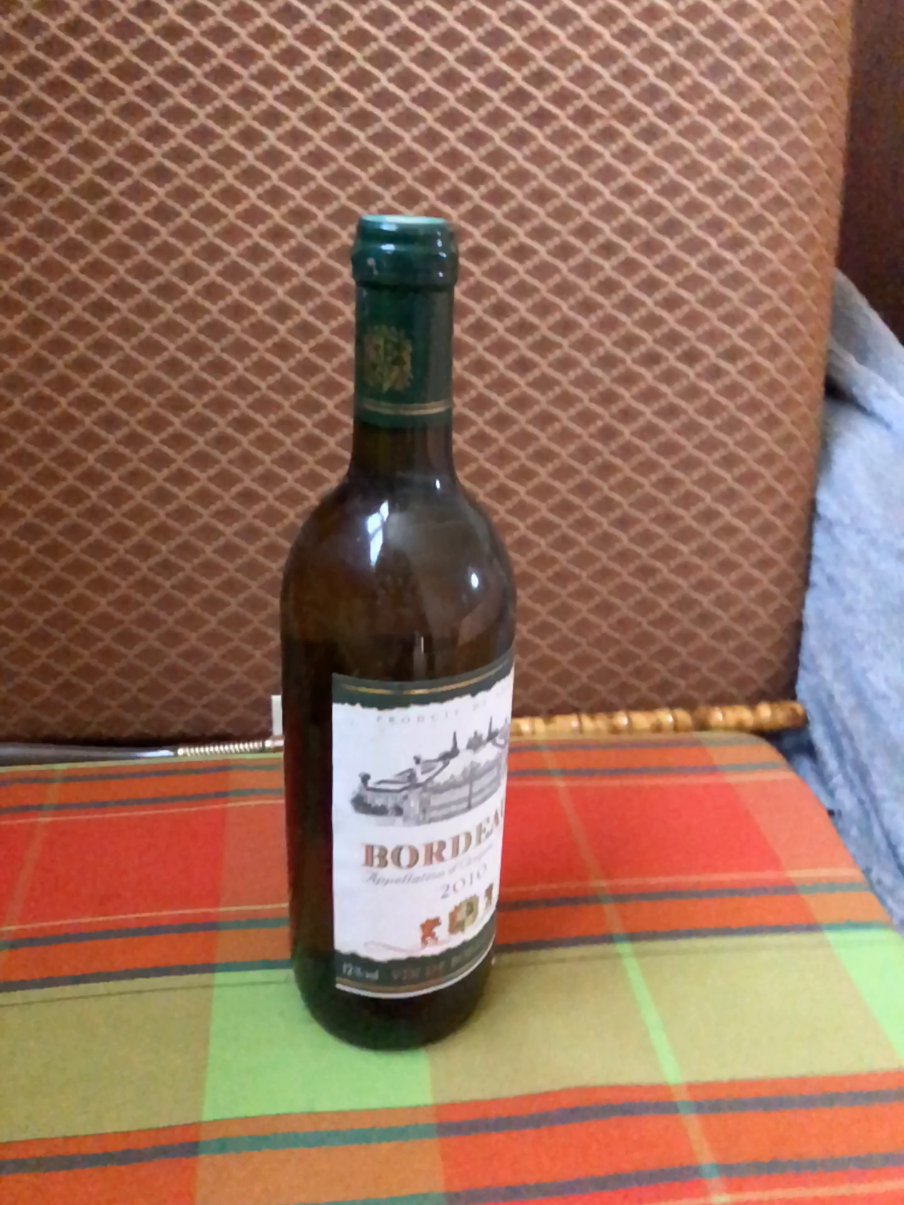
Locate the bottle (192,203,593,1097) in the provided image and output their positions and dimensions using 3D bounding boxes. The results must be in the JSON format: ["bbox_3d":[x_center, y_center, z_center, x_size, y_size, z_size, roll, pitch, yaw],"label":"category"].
[{"bbox_3d":[-0.022,0.017,0.325,0.080,0.269,0.080,1,24,-1],"label":"bottle"}]
